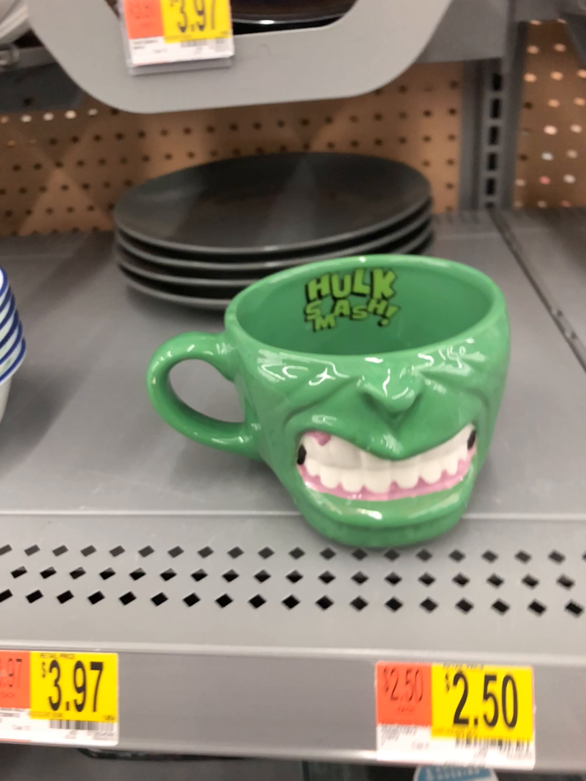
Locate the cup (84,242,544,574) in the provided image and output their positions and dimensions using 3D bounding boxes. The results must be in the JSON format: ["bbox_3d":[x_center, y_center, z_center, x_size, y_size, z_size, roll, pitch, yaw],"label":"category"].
[{"bbox_3d":[0.011,0.002,0.284,0.148,0.089,0.116,-2,31,5],"label":"cup"}]
